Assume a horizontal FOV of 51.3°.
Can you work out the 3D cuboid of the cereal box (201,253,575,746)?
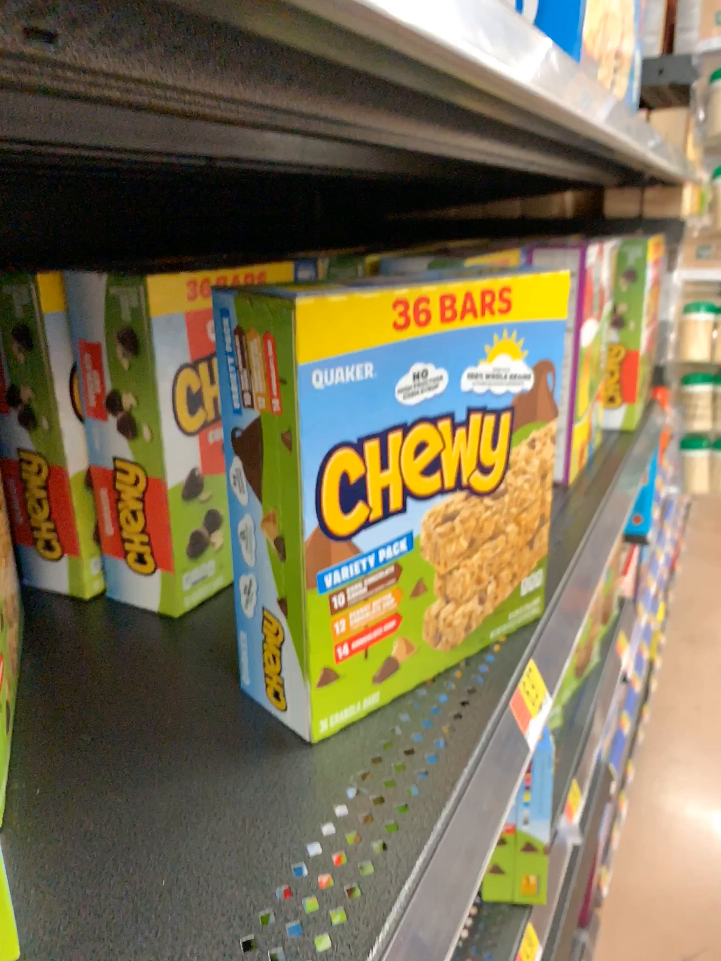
[{"bbox_3d":[0.025,-0.006,0.427,0.200,0.229,0.070,-16,24,-38],"label":"cereal box"}]
